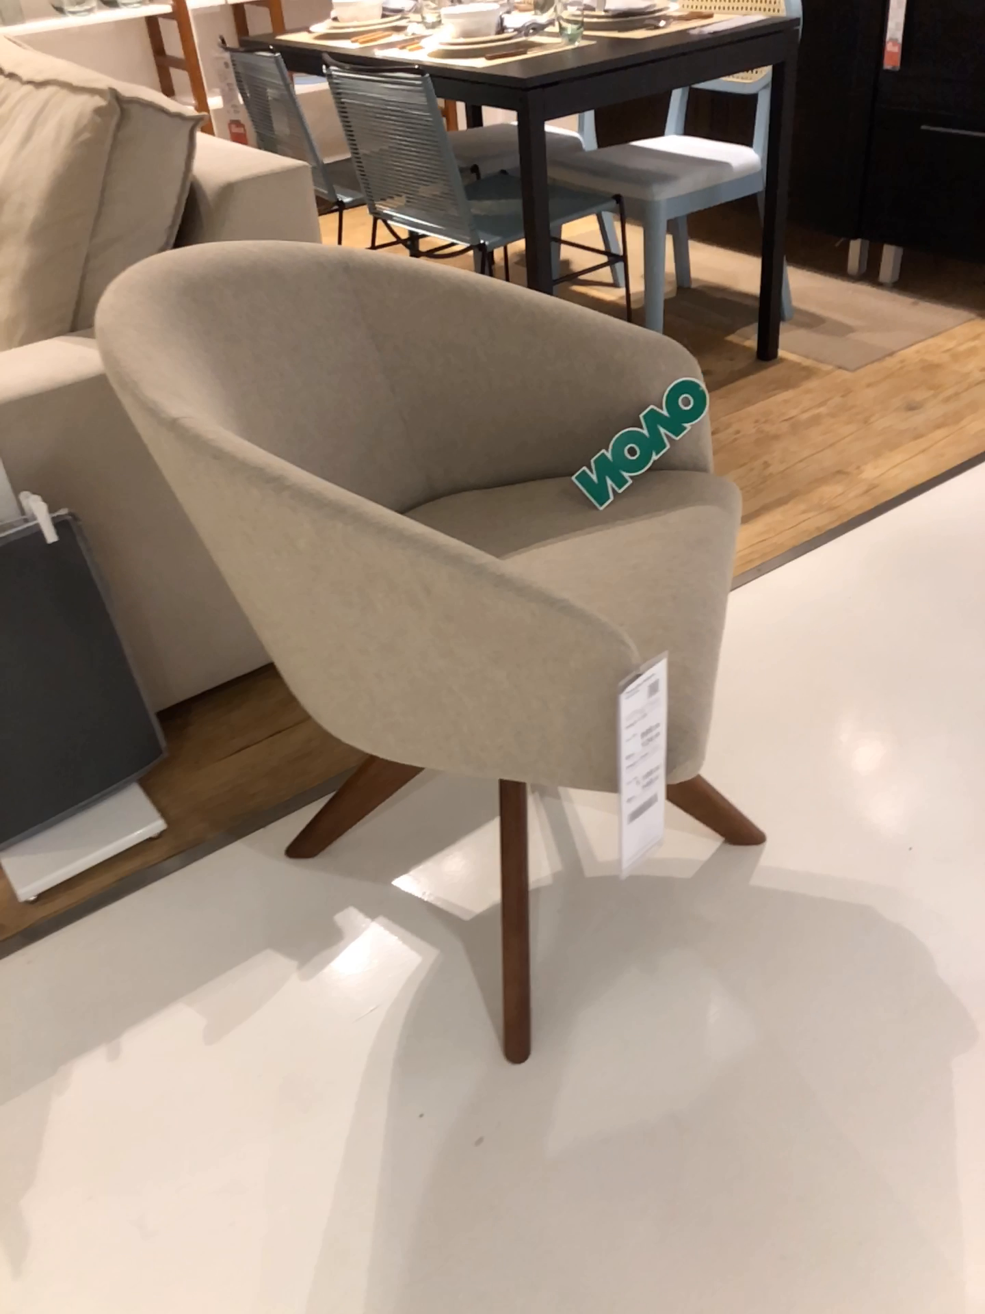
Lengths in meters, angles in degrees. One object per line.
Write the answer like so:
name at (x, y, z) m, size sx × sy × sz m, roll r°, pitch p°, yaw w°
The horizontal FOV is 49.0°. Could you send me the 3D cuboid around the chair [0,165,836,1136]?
chair at (-0.015, -0.054, 1.254) m, size 0.710 × 0.794 × 0.695 m, roll 5°, pitch 37°, yaw 14°
